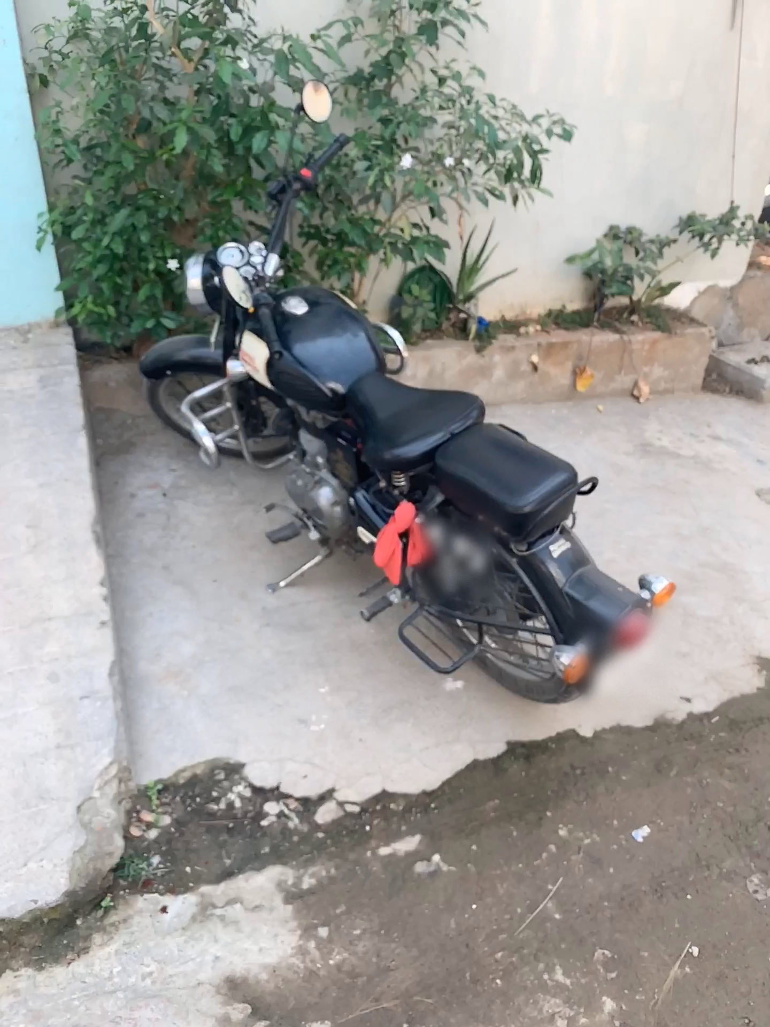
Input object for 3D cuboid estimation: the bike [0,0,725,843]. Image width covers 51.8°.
[{"bbox_3d":[-0.248,-0.390,2.135,1.790,1.340,0.747,30,40,29],"label":"bike"}]
